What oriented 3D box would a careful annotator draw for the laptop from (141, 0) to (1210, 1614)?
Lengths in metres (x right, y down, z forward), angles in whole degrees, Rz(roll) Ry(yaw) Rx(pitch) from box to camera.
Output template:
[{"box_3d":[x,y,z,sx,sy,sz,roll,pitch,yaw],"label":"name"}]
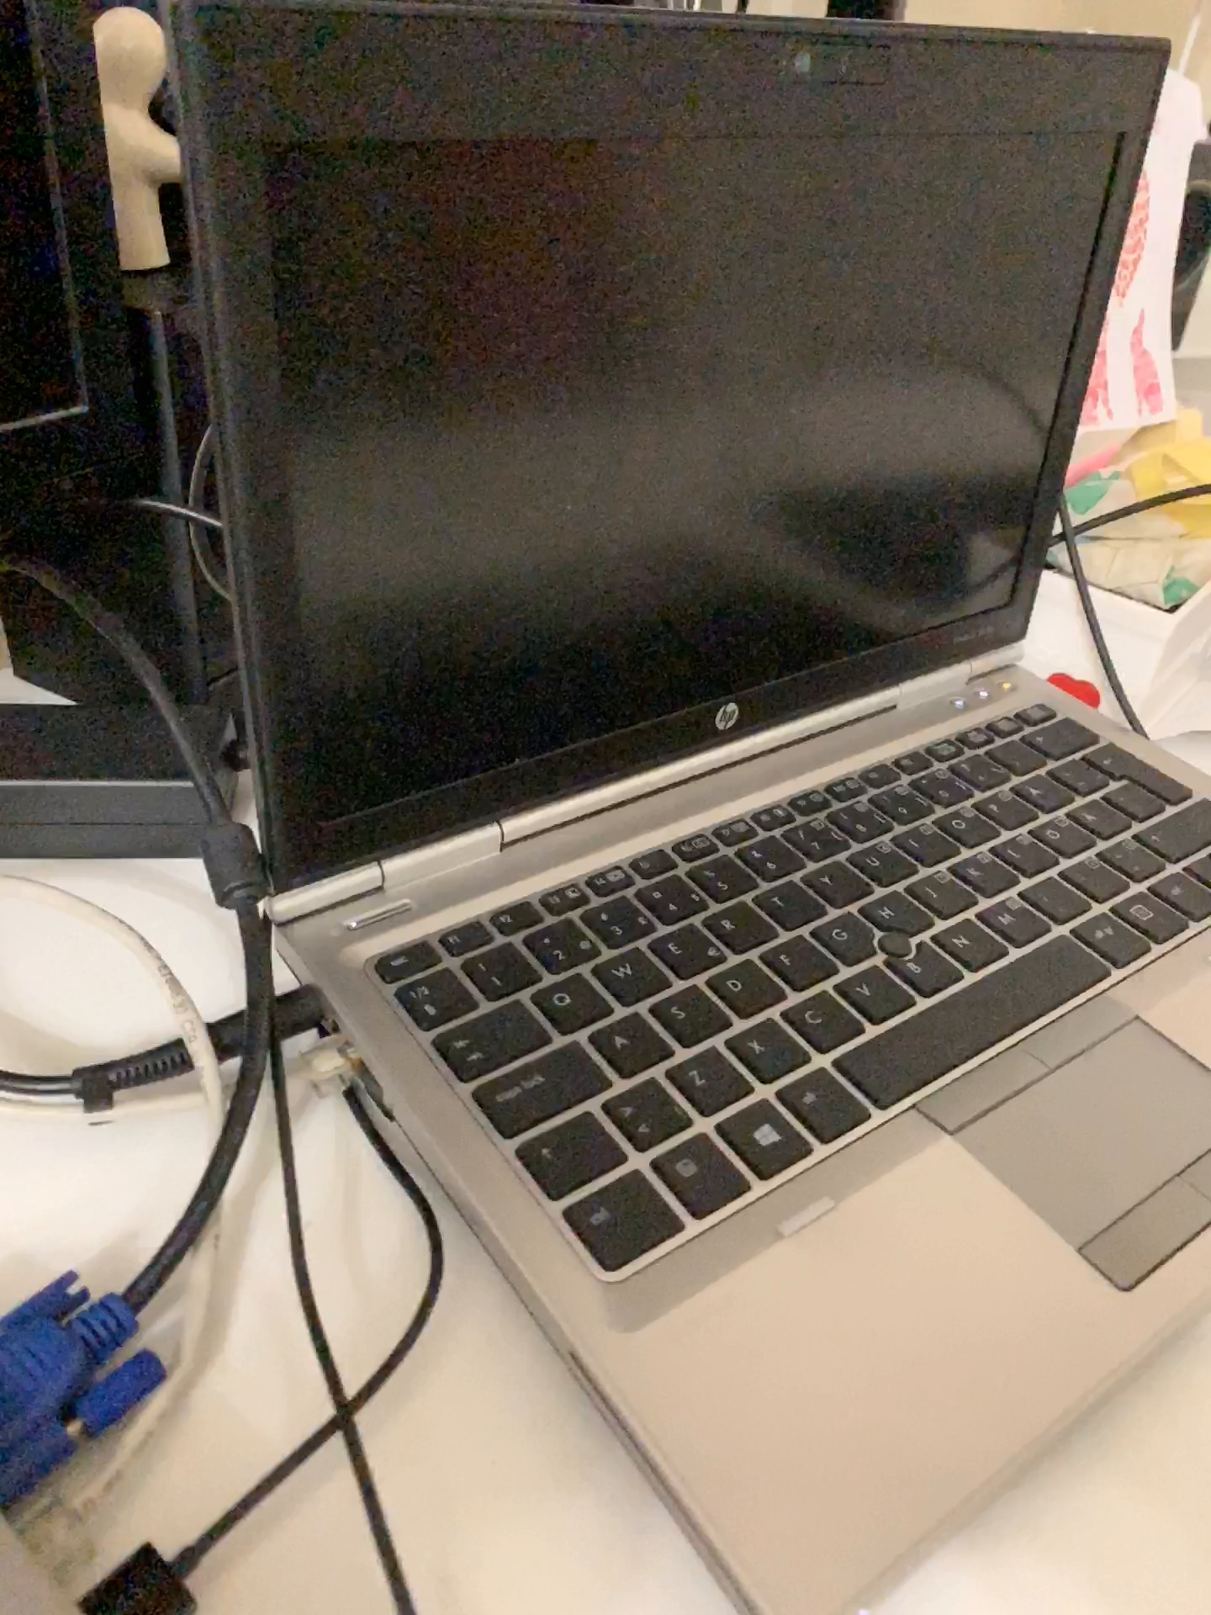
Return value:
[{"box_3d":[0.096,-0.051,0.293,0.304,0.204,0.225,-19,42,-31],"label":"laptop"}]
